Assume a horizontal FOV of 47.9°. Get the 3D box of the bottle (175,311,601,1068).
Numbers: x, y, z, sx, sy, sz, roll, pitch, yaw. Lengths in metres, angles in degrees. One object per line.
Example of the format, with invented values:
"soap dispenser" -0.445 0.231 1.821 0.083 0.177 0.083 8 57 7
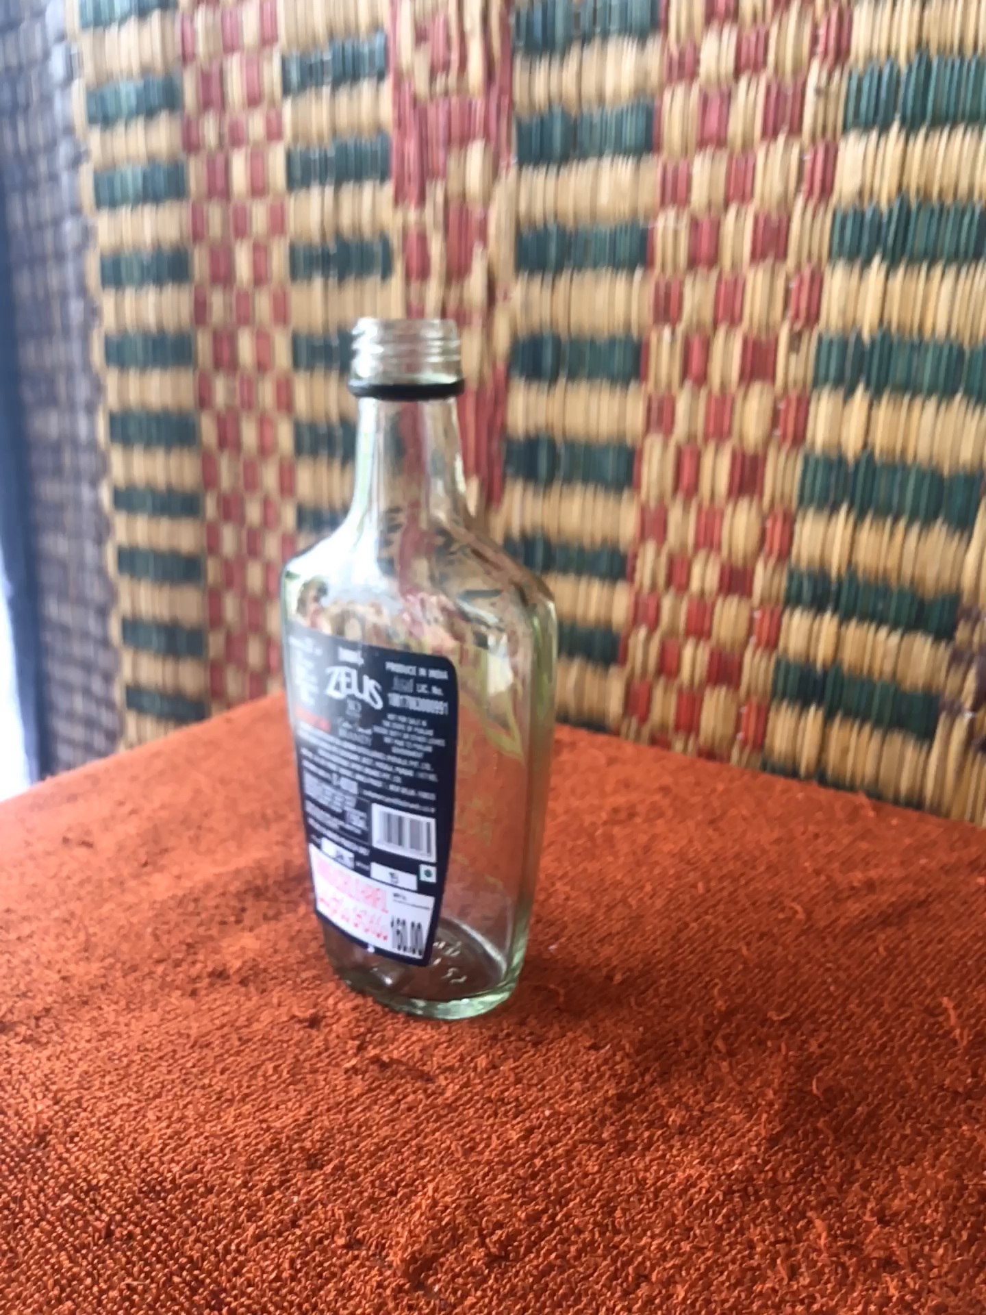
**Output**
"bottle" -0.021 0.002 0.247 0.080 0.149 0.040 13 24 37
